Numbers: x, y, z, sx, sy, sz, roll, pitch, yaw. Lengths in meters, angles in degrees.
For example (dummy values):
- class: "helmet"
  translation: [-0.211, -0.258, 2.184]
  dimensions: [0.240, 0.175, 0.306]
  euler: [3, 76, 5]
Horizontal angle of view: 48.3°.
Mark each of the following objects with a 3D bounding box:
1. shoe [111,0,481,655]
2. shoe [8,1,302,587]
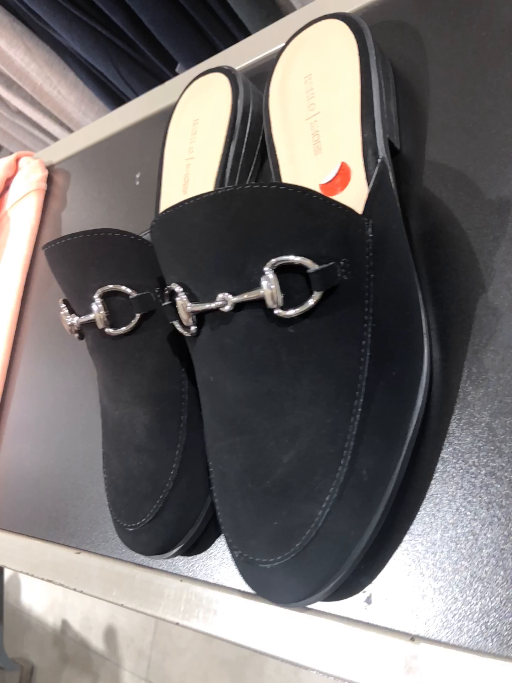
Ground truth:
- class: "shoe"
  translation: [0.019, -0.023, 0.208]
  dimensions: [0.090, 0.070, 0.220]
  euler: [-10, 69, 38]
- class: "shoe"
  translation: [-0.042, -0.017, 0.266]
  dimensions: [0.090, 0.080, 0.220]
  euler: [-6, 77, 39]
